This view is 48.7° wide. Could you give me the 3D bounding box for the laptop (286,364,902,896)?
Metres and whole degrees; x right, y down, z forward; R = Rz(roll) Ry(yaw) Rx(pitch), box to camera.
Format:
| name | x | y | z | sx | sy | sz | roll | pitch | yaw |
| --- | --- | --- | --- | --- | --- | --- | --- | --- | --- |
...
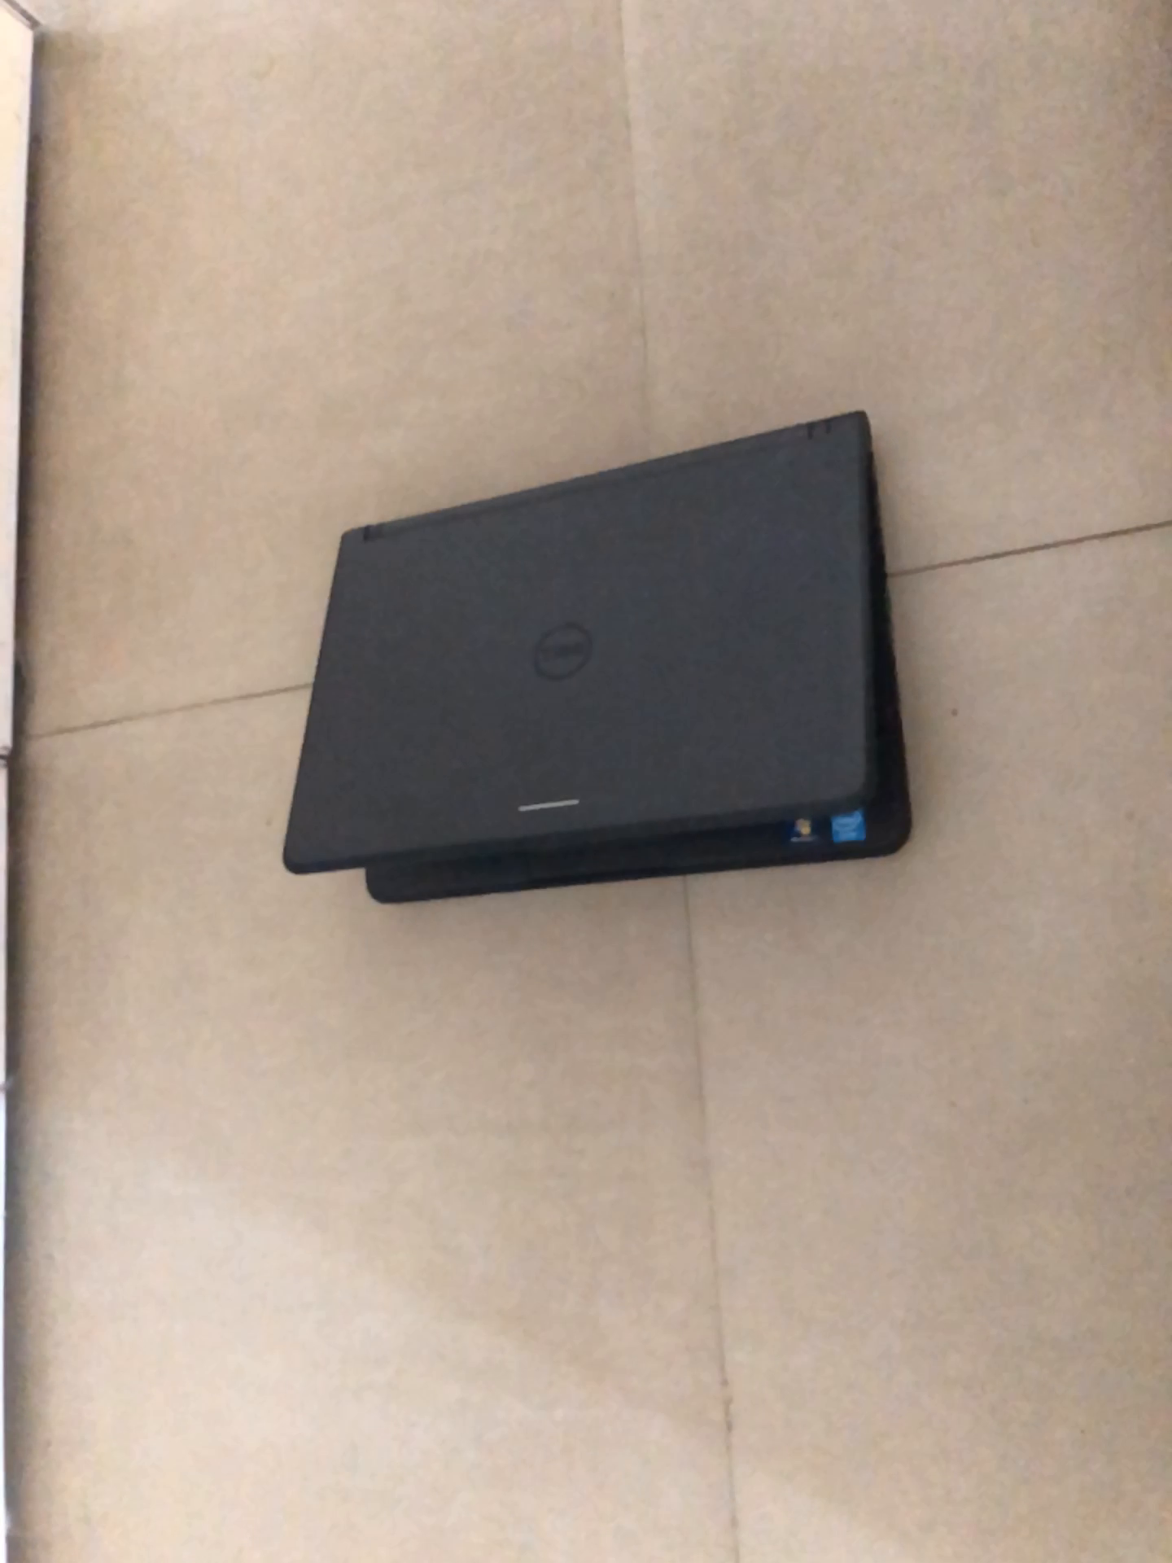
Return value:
| name | x | y | z | sx | sy | sz | roll | pitch | yaw |
| --- | --- | --- | --- | --- | --- | --- | --- | --- | --- |
| laptop | -0.007 | -0.064 | 0.695 | 0.315 | 0.064 | 0.220 | -7 | 83 | 24 |
